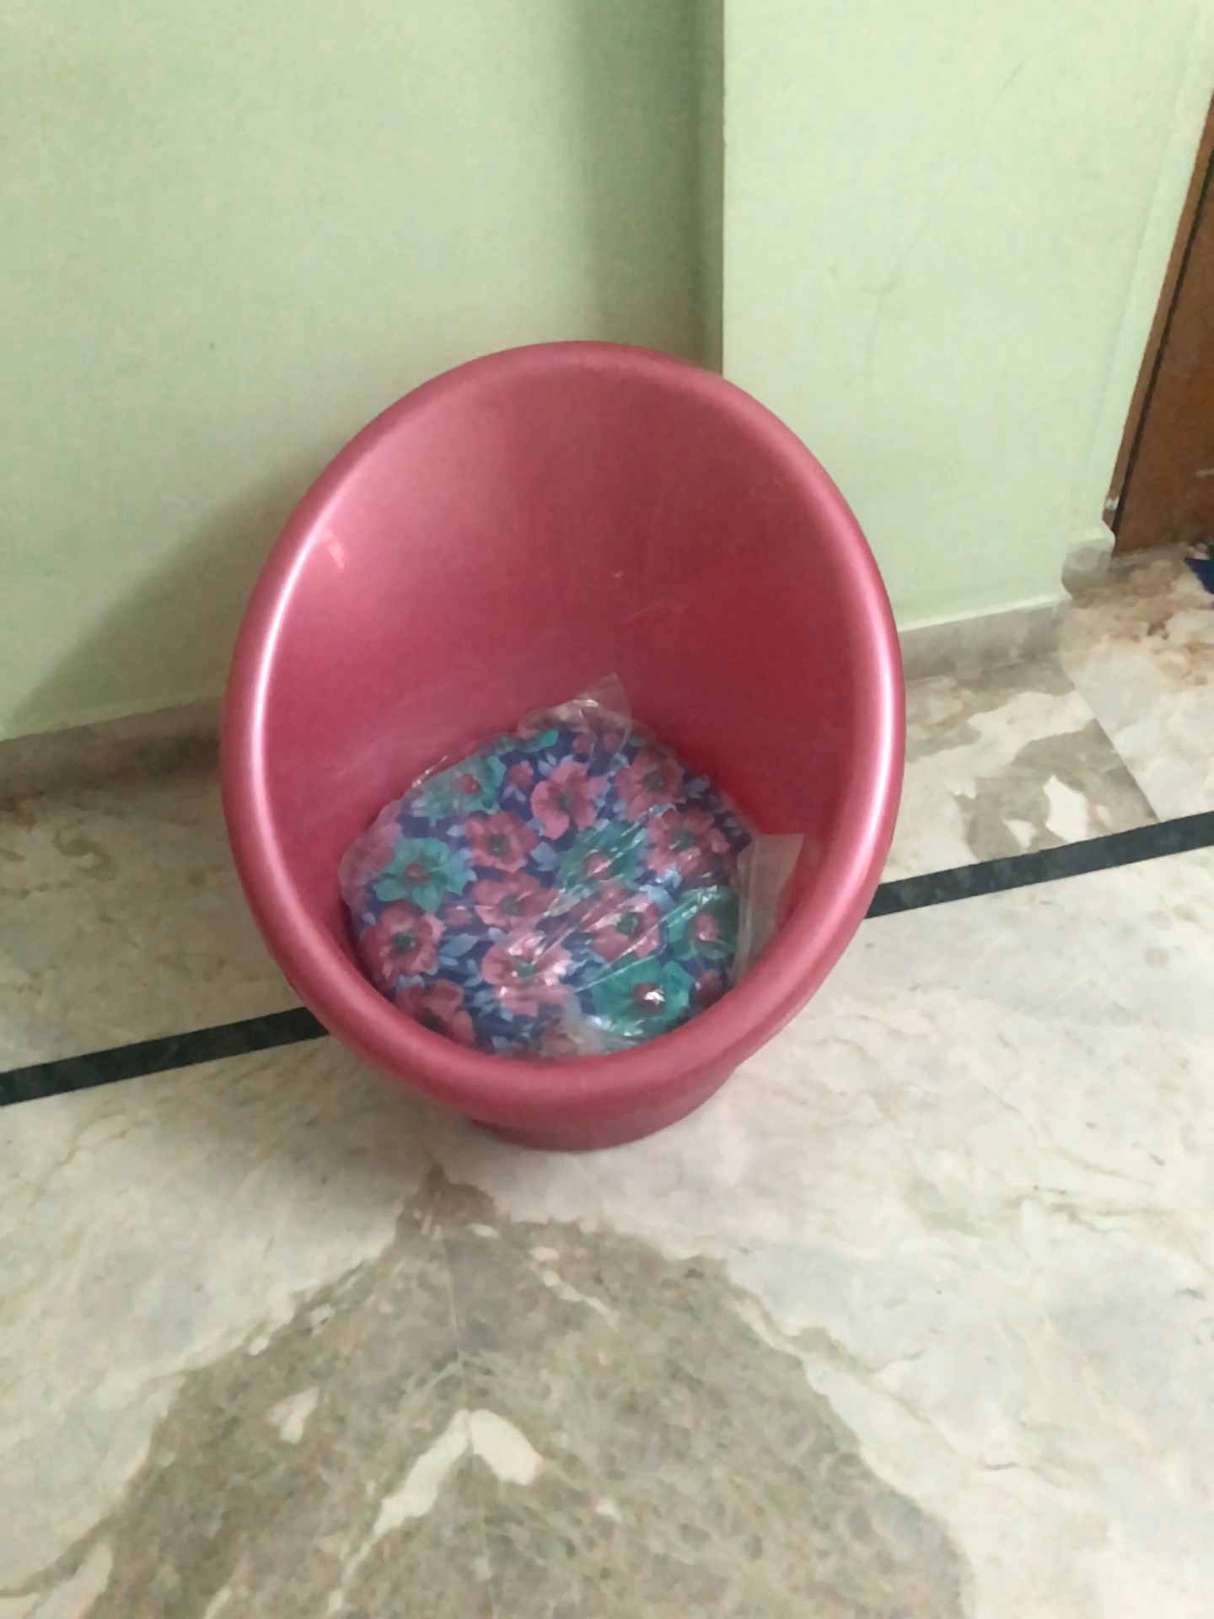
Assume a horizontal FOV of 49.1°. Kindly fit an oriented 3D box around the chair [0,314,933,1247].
[{"bbox_3d":[-0.059,-0.056,1.333,0.640,0.547,0.664,8,49,12],"label":"chair"}]
